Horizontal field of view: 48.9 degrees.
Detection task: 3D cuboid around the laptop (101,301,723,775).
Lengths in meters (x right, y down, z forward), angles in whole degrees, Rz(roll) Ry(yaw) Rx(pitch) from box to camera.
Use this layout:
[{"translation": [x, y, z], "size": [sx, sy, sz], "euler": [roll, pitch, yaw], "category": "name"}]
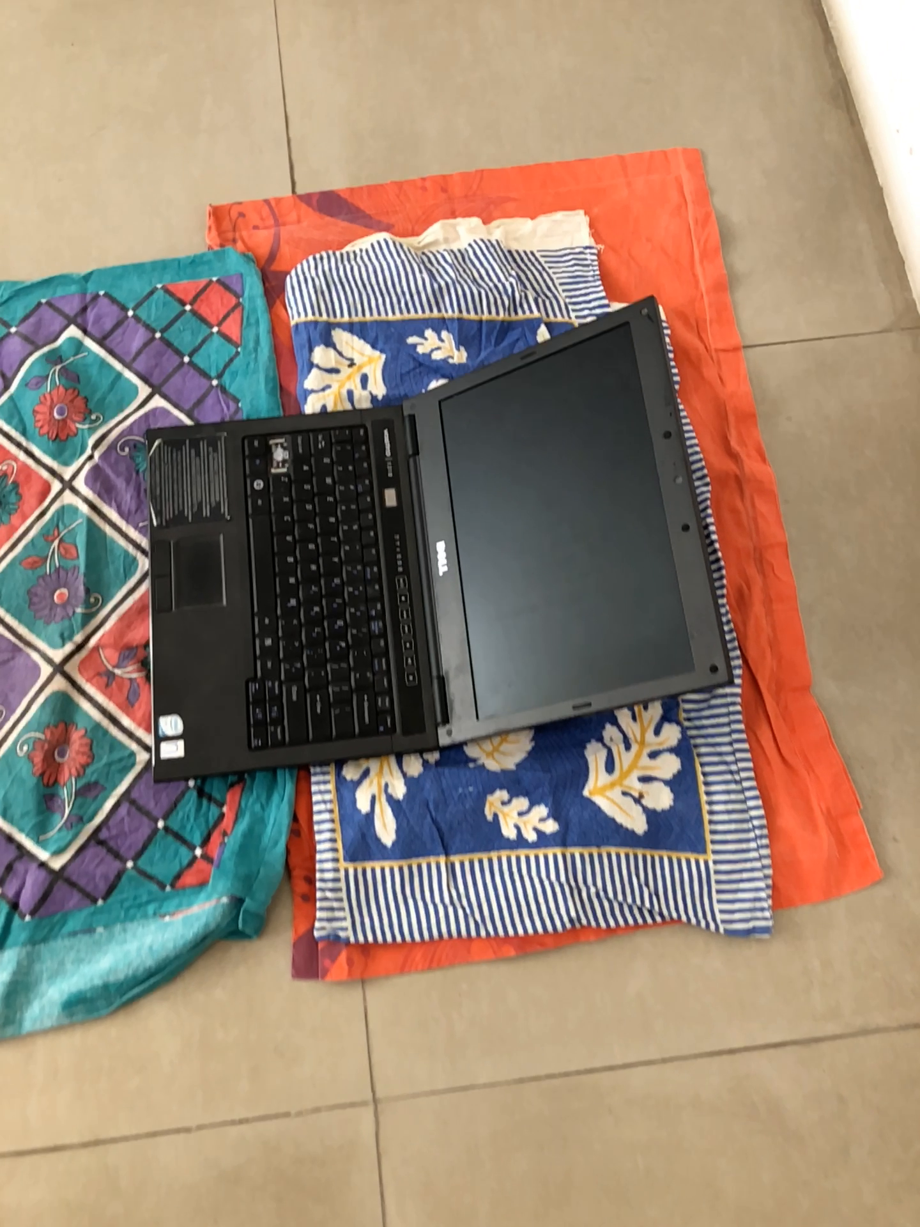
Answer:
[{"translation": [-0.045, -0.060, 0.793], "size": [0.419, 0.125, 0.306], "euler": [-6, 72, -4], "category": "laptop"}]
